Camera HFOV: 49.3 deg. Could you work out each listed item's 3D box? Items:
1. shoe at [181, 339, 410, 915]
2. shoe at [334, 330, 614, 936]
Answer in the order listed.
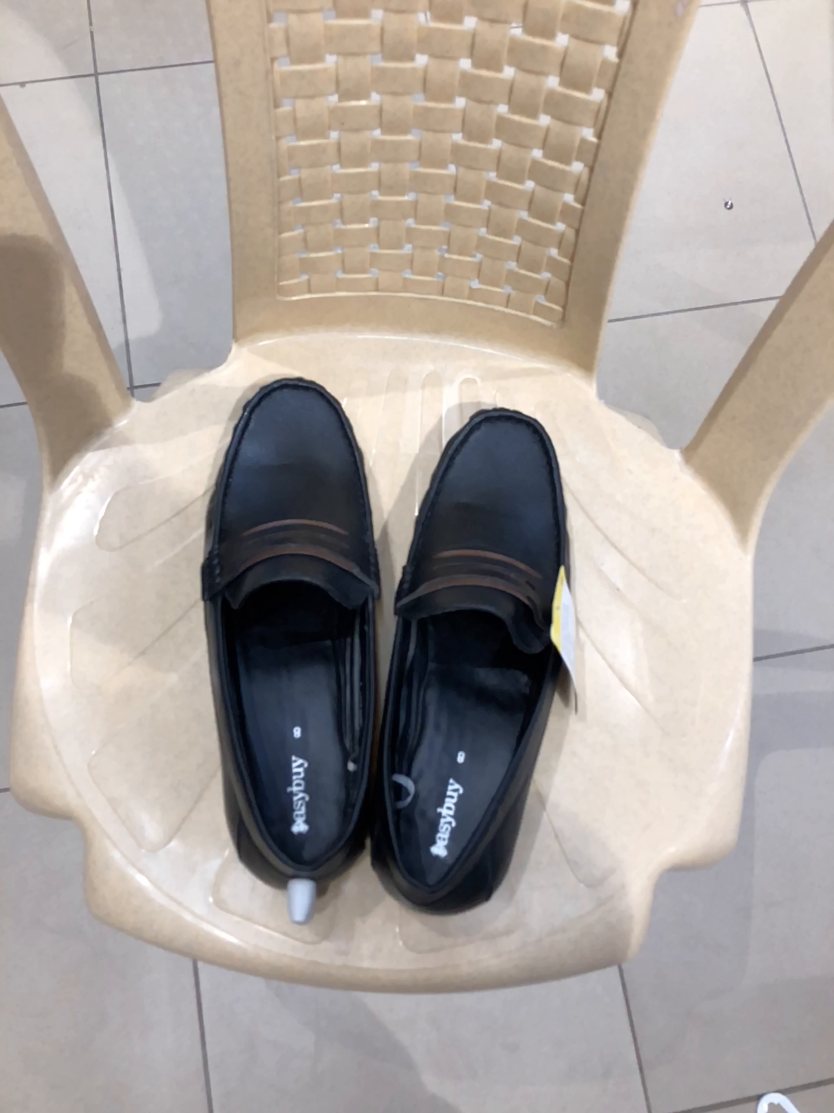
[{"bbox_3d":[-0.064,0.034,0.485,0.100,0.088,0.275,-3,78,-3],"label":"shoe"},{"bbox_3d":[0.031,0.036,0.483,0.100,0.088,0.283,9,77,0],"label":"shoe"}]
